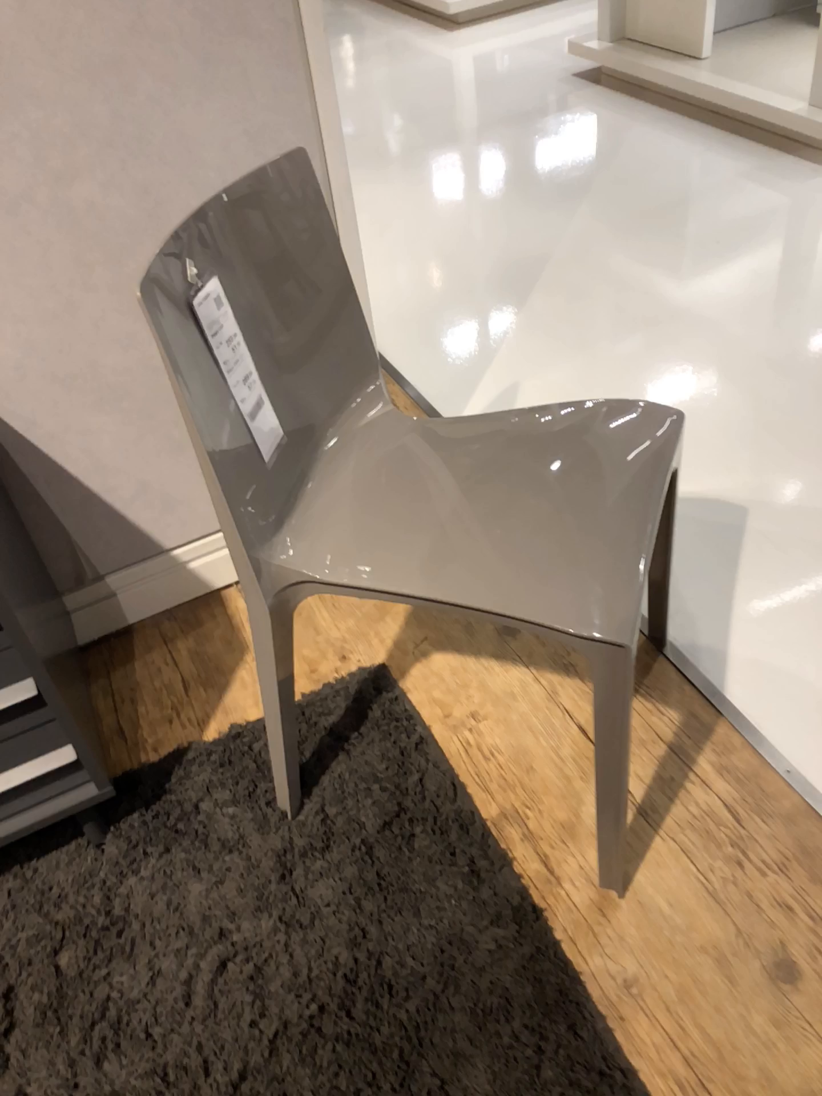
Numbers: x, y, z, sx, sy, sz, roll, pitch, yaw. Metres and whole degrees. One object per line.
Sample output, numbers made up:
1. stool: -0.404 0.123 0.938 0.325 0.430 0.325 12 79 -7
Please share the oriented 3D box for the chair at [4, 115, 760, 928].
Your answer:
1. chair: 0.048 -0.040 1.103 0.561 0.754 0.523 10 46 20
